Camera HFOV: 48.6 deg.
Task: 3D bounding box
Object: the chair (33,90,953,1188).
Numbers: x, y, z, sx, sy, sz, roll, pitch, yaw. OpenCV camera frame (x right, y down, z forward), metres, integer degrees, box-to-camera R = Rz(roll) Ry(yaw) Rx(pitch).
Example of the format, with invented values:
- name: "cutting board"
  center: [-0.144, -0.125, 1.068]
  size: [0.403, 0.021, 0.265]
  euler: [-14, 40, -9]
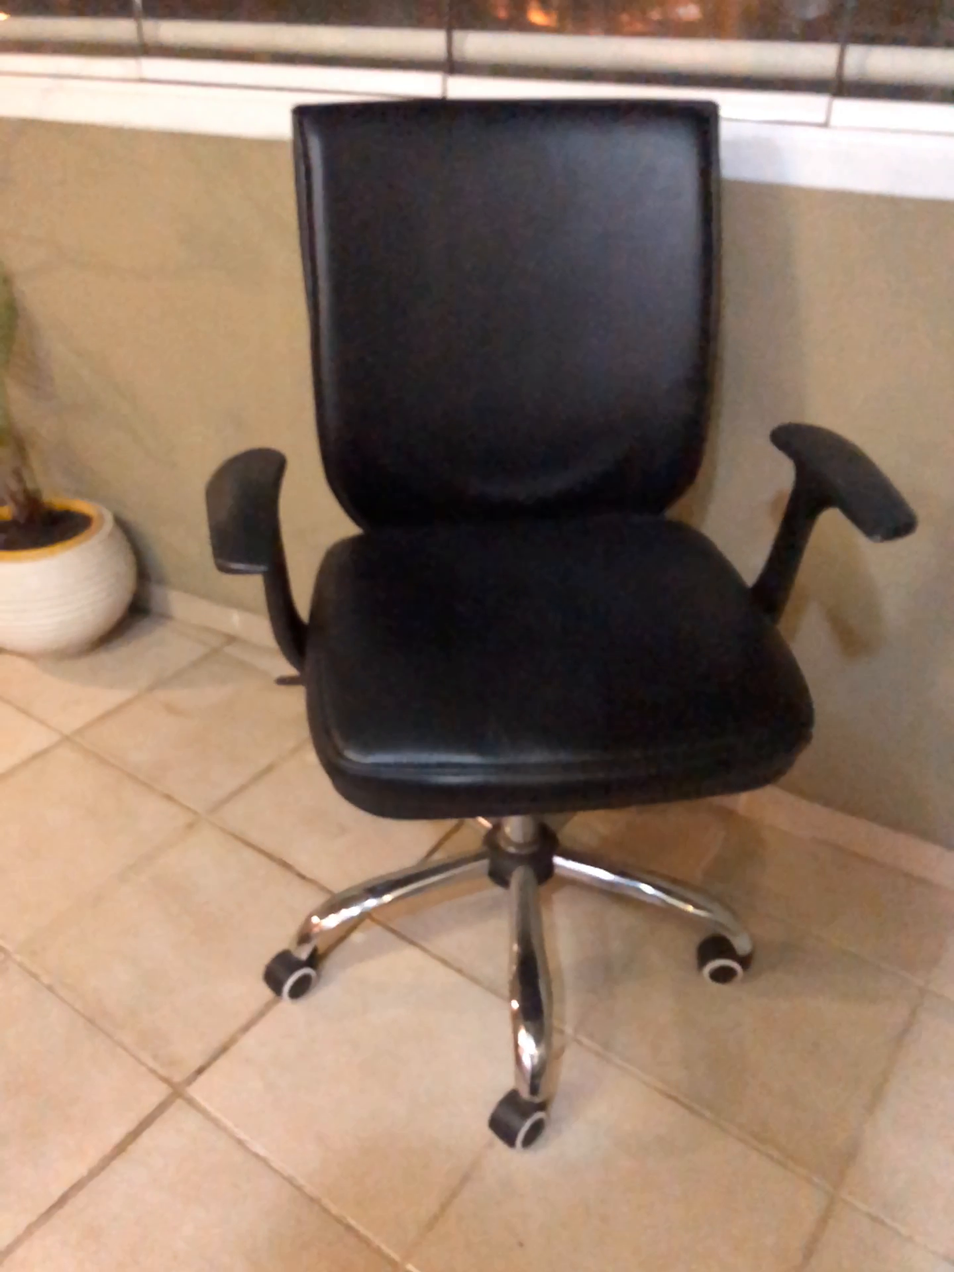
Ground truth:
- name: "chair"
  center: [0.051, -0.029, 1.139]
  size: [0.660, 0.932, 0.665]
  euler: [-3, 32, -5]
